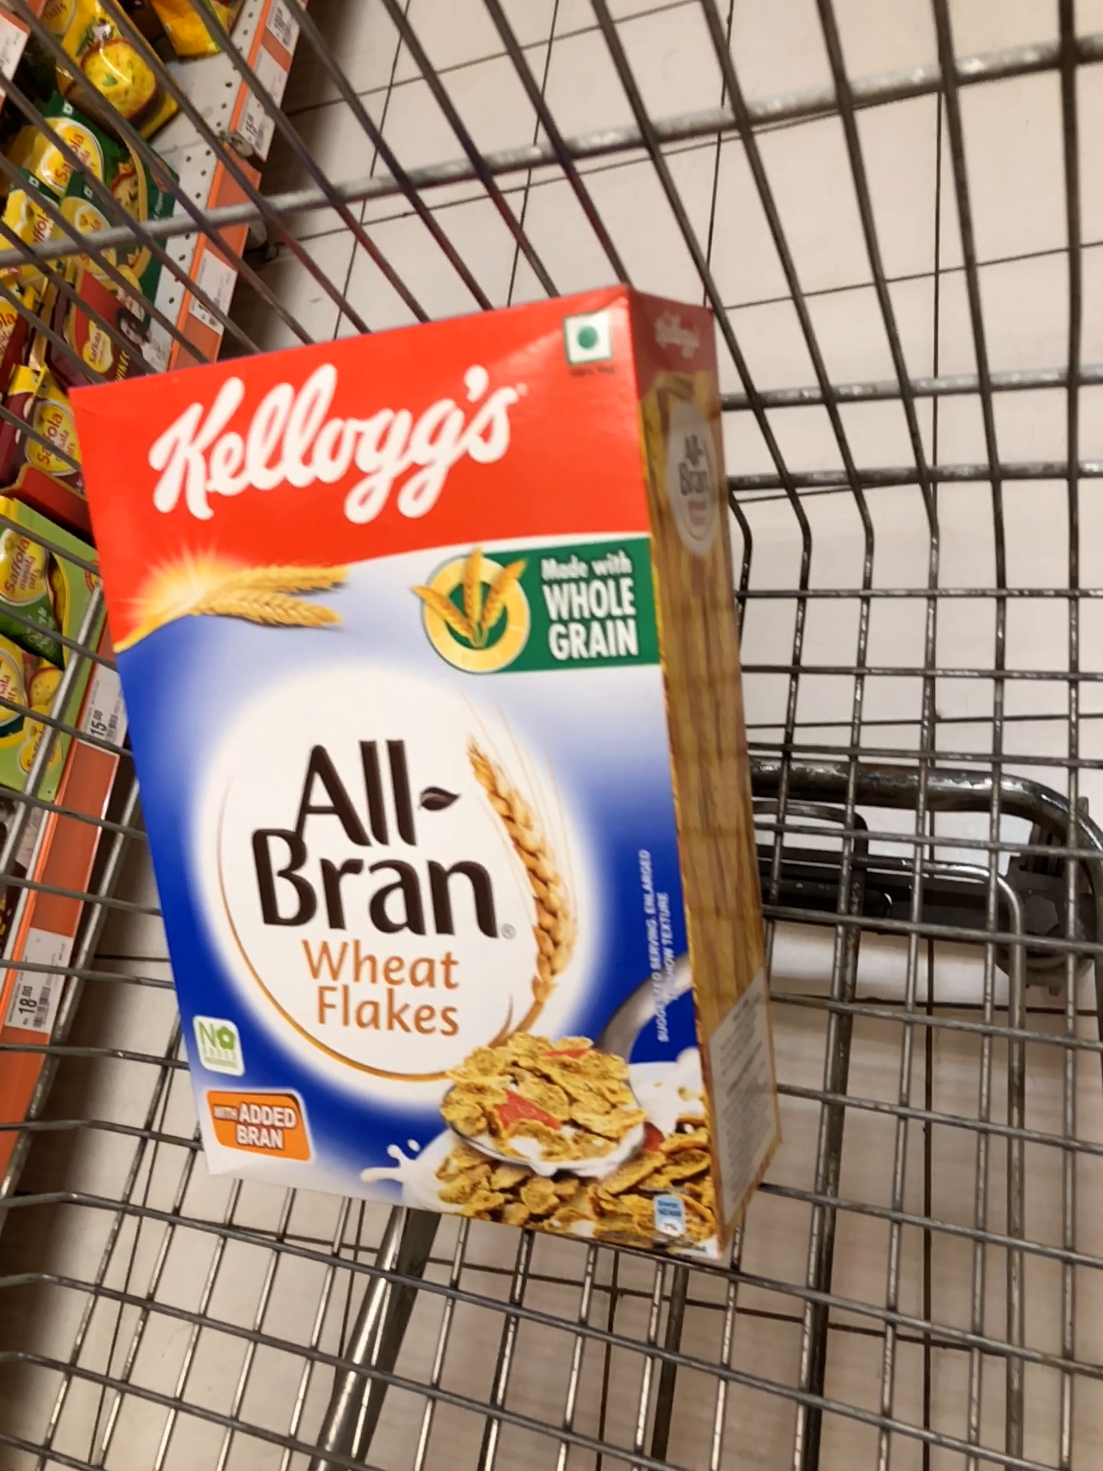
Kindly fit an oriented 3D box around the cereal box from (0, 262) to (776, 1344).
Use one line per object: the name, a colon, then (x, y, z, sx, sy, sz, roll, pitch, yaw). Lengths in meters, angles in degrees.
cereal box: (-0.046, 0.020, 0.364, 0.190, 0.080, 0.270, -1, 104, 24)
